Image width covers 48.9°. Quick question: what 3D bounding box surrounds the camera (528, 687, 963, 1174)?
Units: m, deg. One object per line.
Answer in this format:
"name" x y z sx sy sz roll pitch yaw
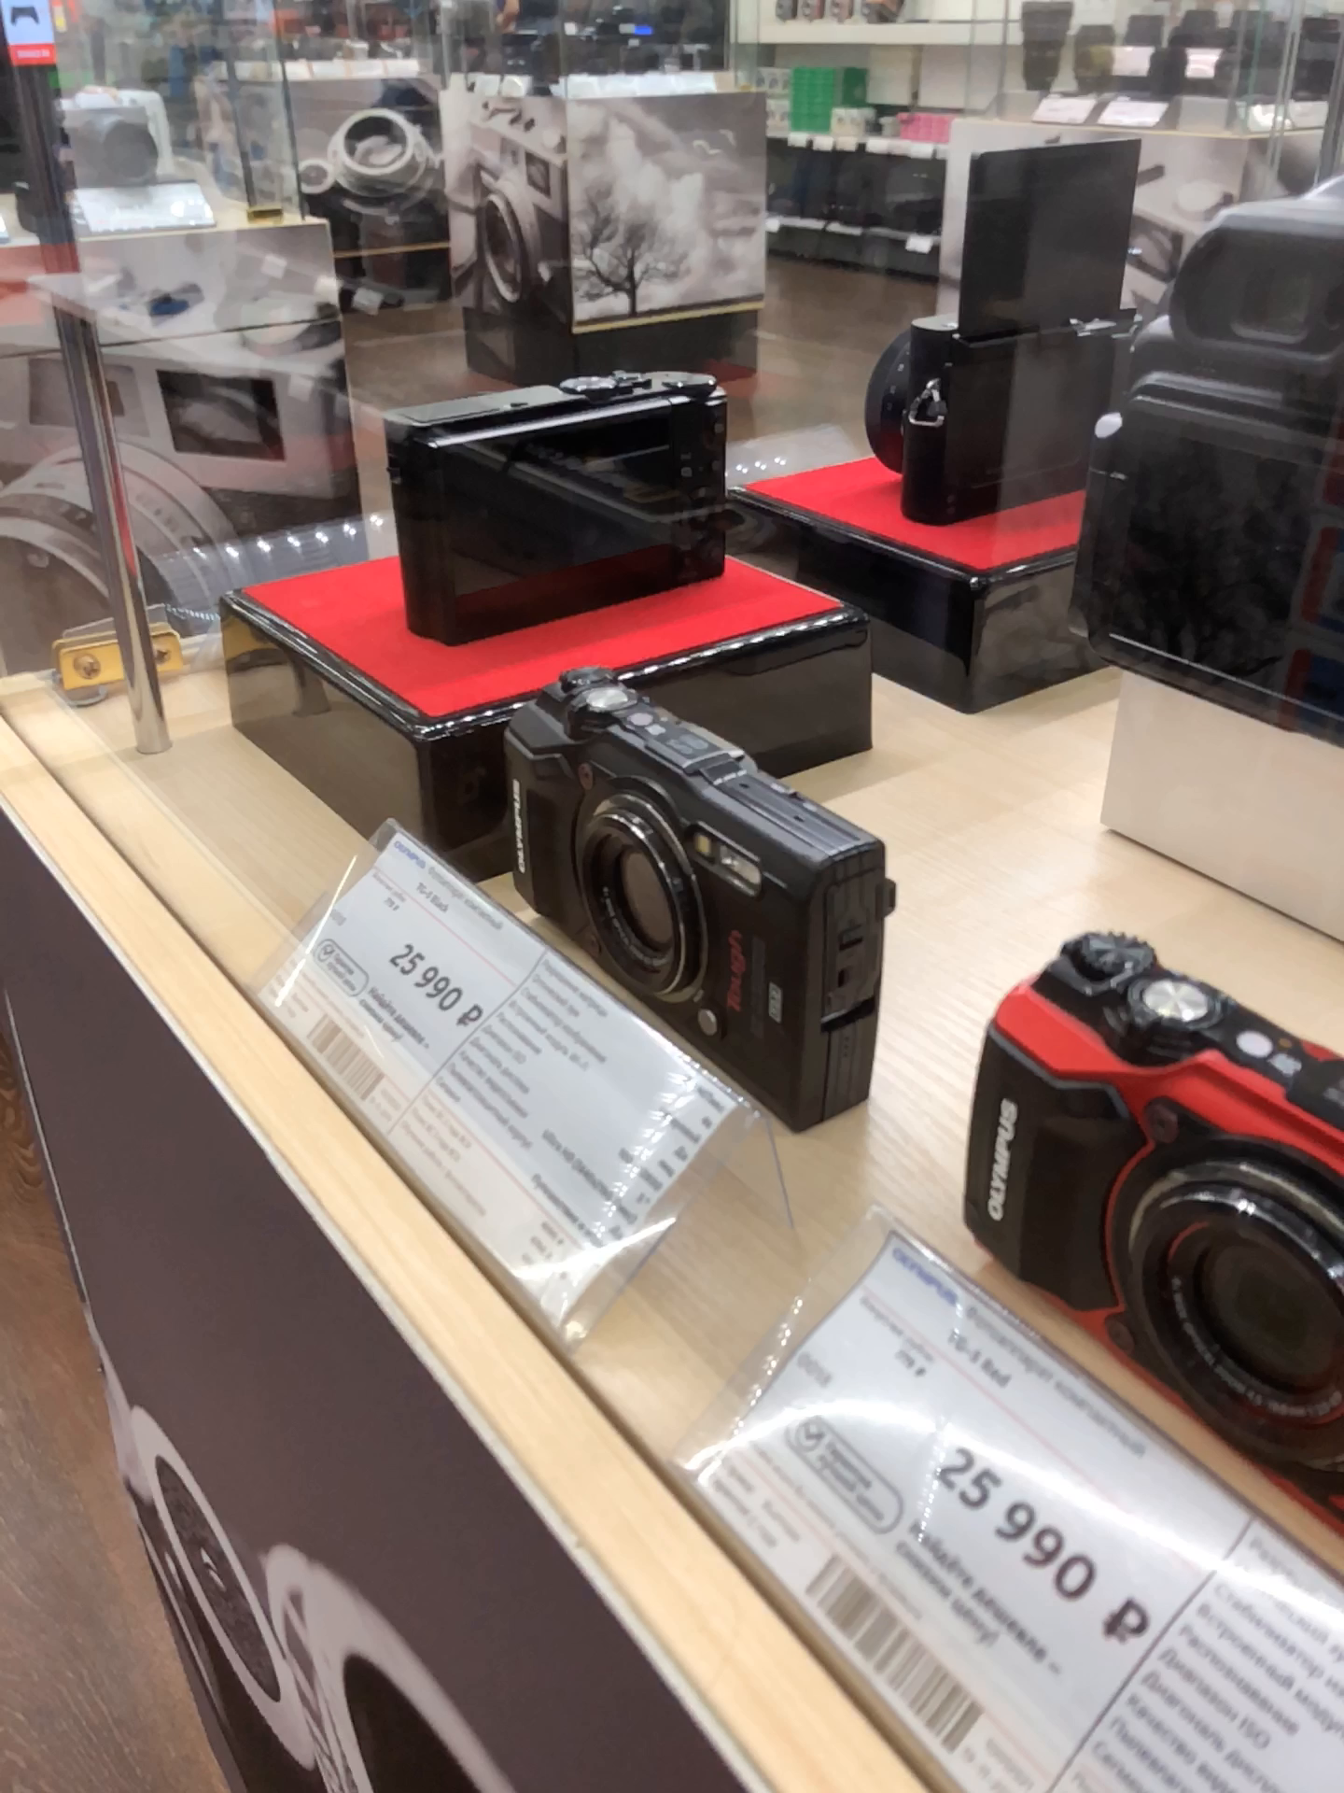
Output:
"camera" 0.011 0.002 0.334 0.030 0.060 0.117 -19 35 -29

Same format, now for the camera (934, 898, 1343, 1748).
"camera" 0.093 0.054 0.223 0.030 0.060 0.117 -19 35 -29
